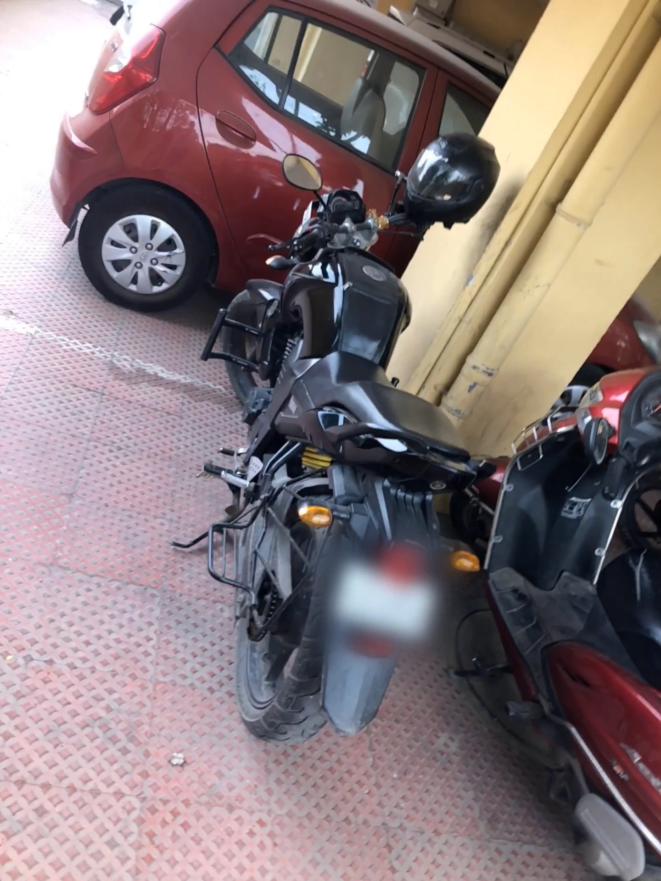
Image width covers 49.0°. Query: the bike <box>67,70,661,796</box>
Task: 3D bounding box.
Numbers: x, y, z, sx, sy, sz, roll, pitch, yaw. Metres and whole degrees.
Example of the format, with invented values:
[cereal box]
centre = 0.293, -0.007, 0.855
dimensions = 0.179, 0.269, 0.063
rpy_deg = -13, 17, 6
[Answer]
[bike]
centre = -0.160, -0.196, 2.039
dimensions = 0.739, 1.025, 1.791
rpy_deg = 16, 30, -23
